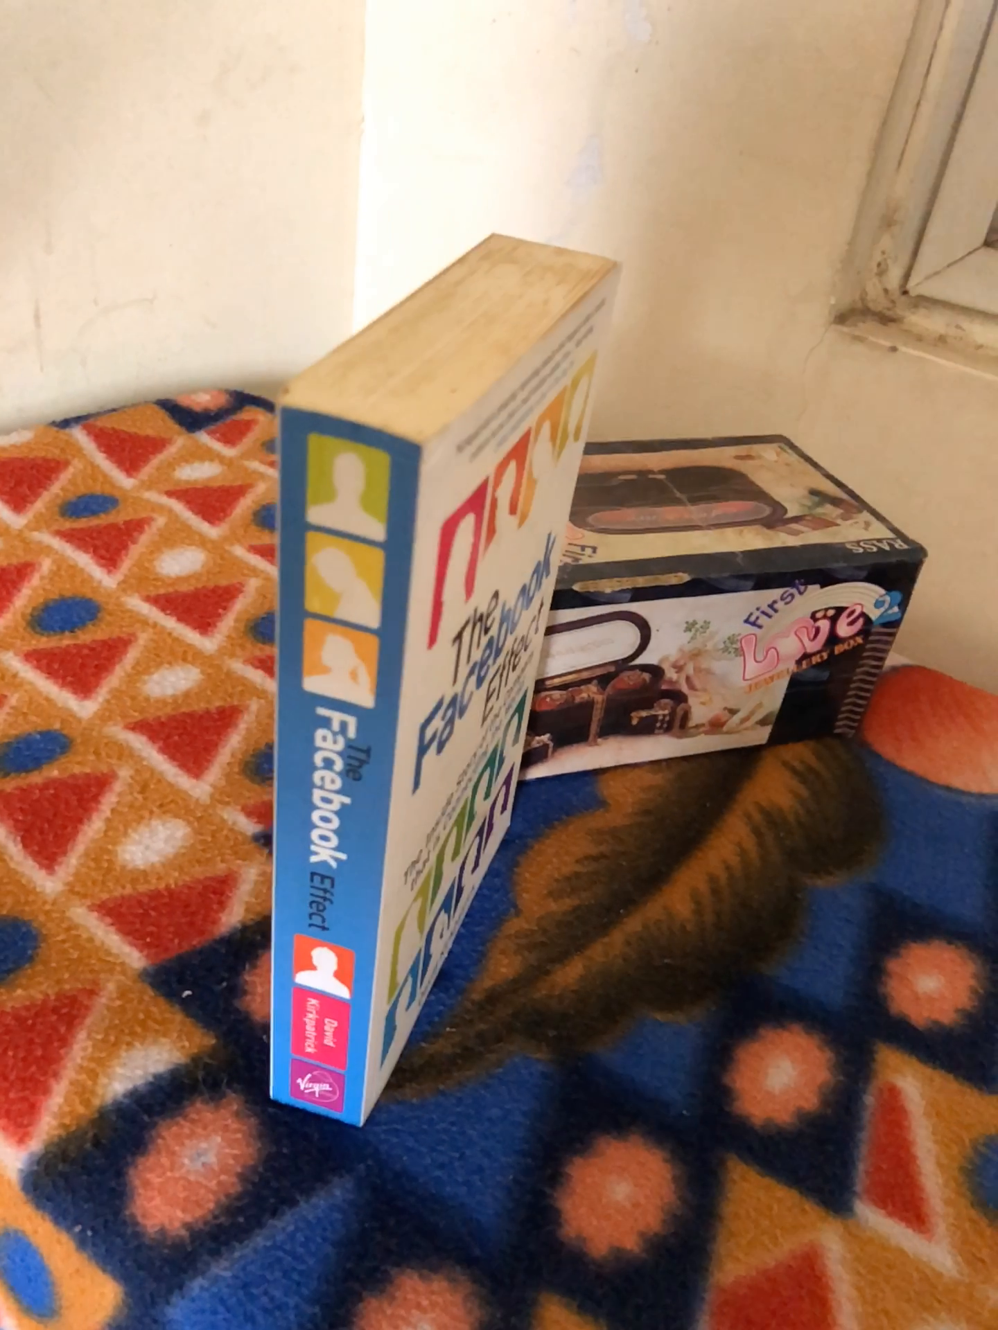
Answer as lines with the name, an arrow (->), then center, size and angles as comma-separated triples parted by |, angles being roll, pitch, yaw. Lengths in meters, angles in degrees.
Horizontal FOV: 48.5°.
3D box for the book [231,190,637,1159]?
book -> -0.014, 0.001, 0.306 | 0.040, 0.219, 0.151 | 14, 35, 11
